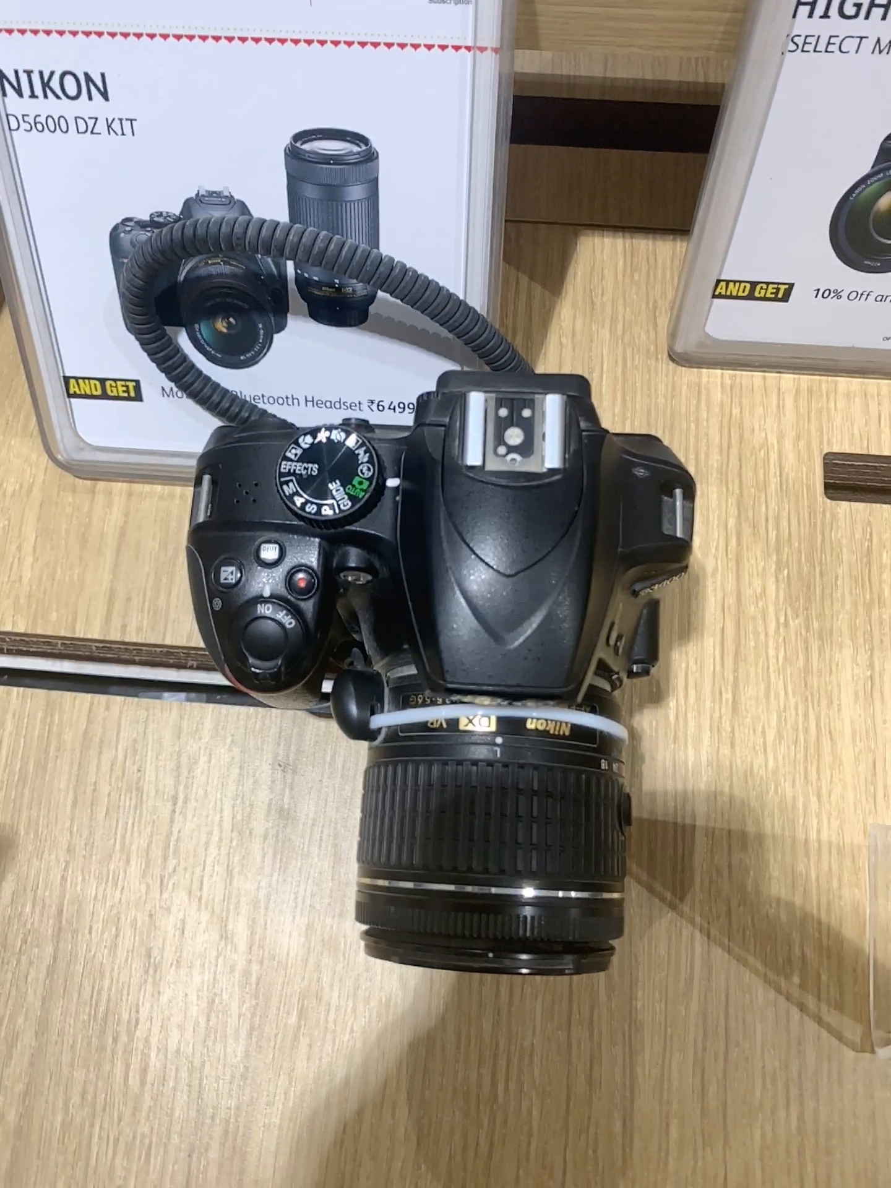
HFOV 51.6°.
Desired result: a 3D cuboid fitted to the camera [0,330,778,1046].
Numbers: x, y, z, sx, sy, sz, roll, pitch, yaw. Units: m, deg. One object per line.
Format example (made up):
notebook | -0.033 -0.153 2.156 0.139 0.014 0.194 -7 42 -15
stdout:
camera | -0.007 0.023 0.204 0.120 0.100 0.120 1 72 3
